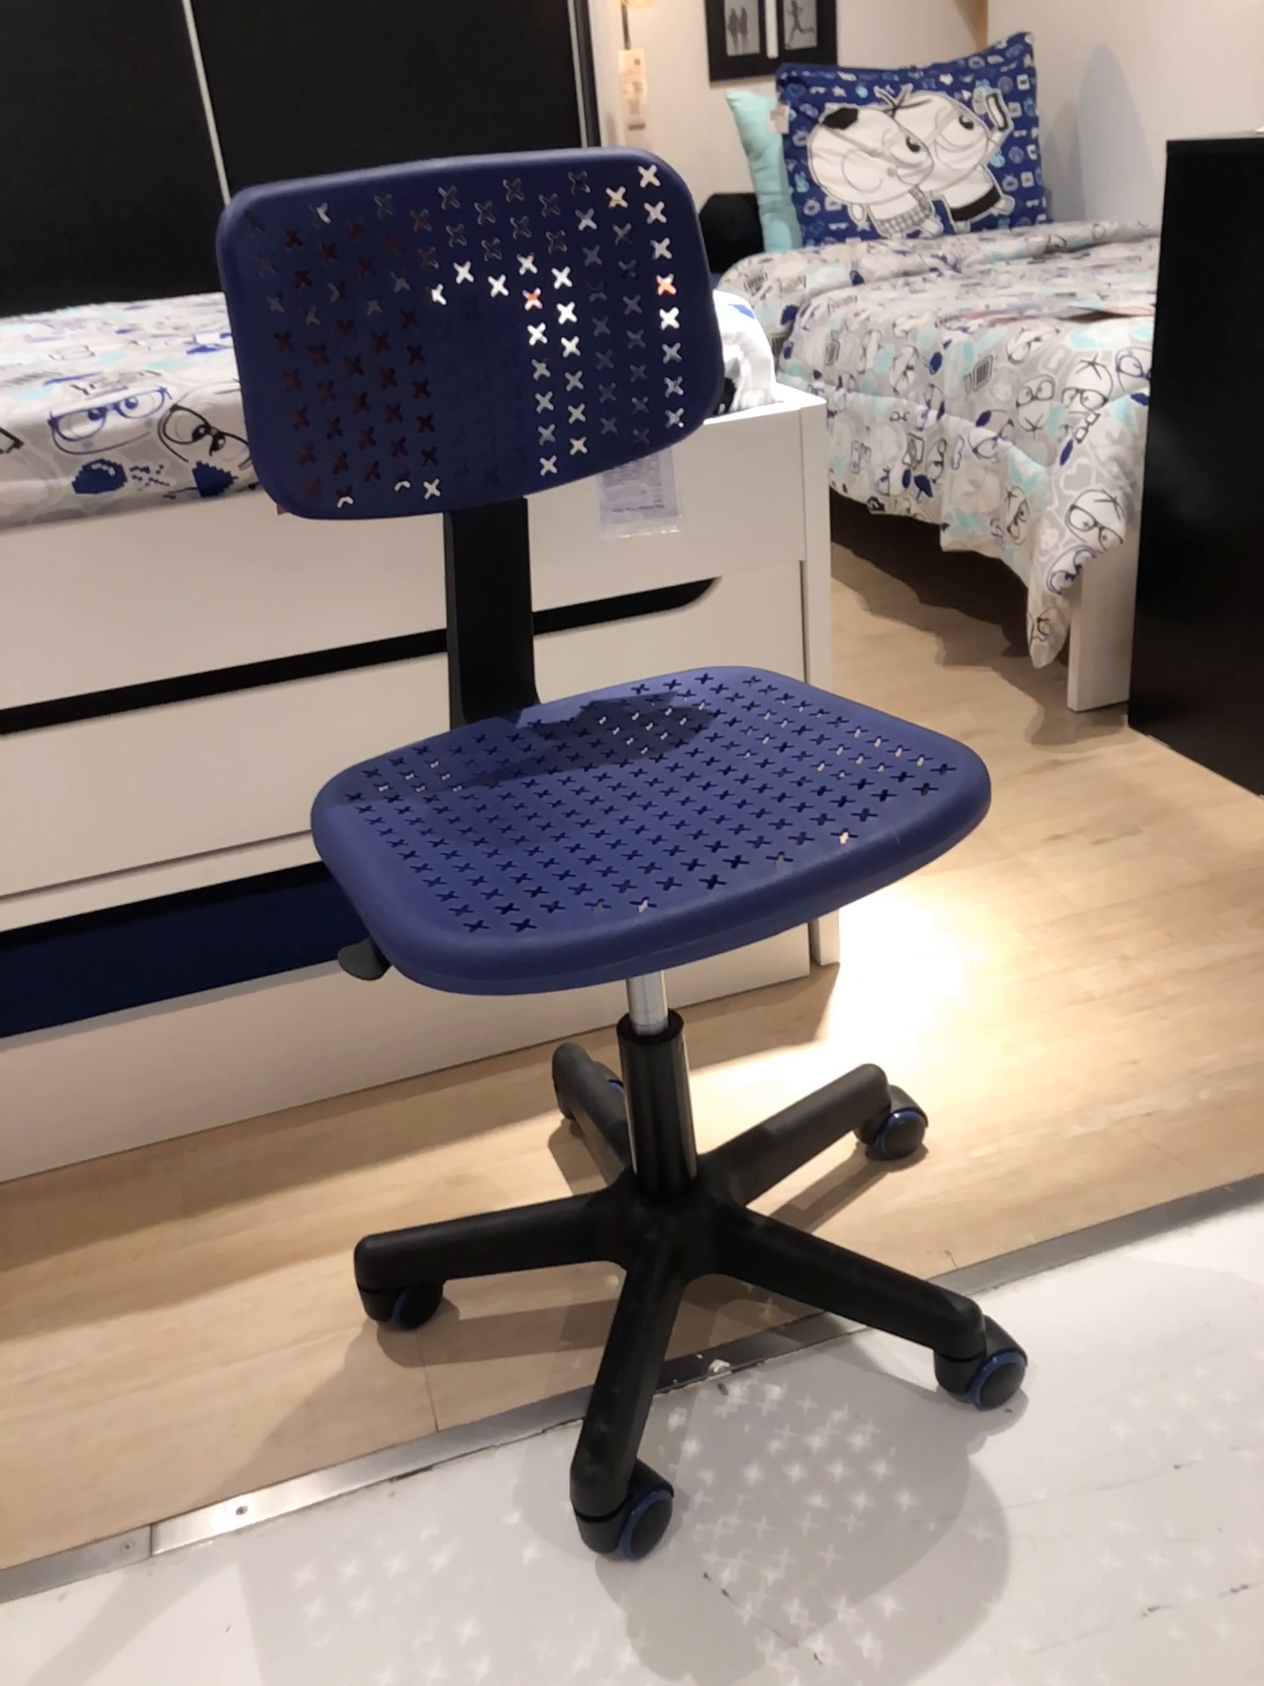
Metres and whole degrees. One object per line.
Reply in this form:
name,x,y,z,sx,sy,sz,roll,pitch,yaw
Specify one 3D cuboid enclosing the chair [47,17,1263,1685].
chair,0.010,-0.036,0.936,0.550,0.814,0.523,-15,28,-16
